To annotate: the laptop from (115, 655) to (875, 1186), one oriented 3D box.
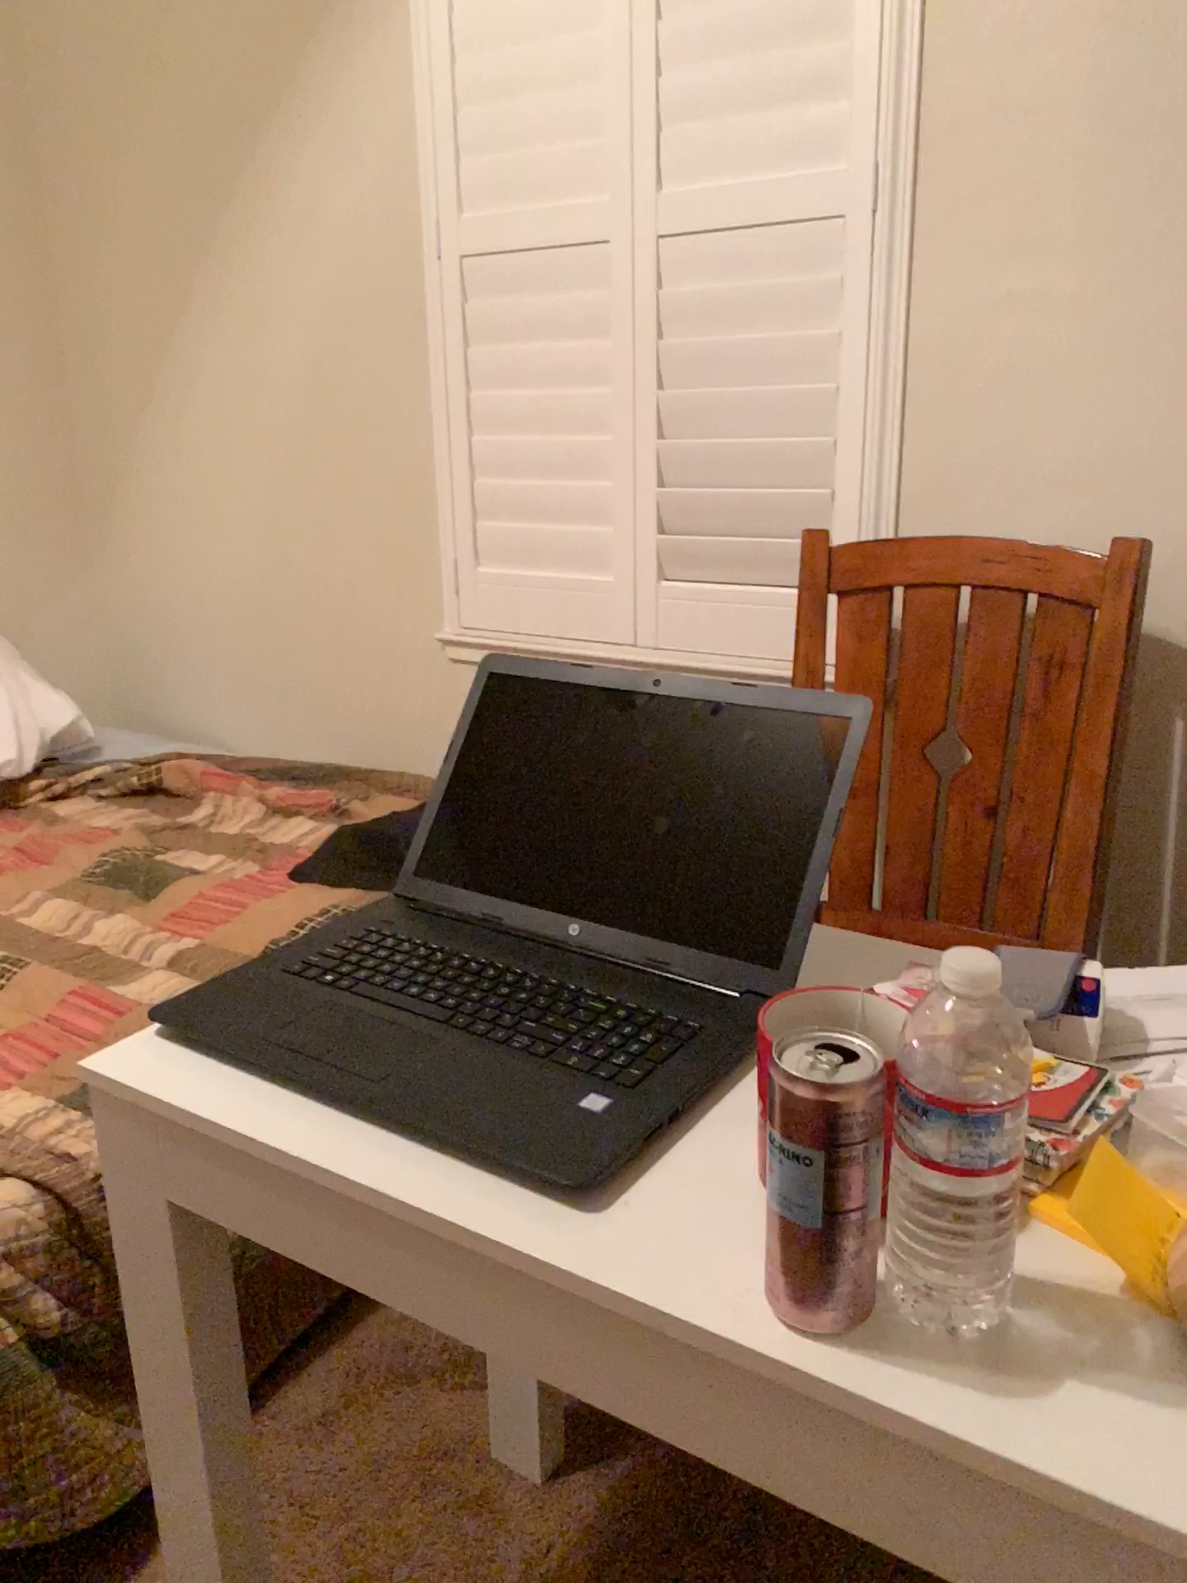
[{"bbox_3d":[-0.057,0.046,0.942,0.400,0.197,0.417,10,21,34],"label":"laptop"}]
